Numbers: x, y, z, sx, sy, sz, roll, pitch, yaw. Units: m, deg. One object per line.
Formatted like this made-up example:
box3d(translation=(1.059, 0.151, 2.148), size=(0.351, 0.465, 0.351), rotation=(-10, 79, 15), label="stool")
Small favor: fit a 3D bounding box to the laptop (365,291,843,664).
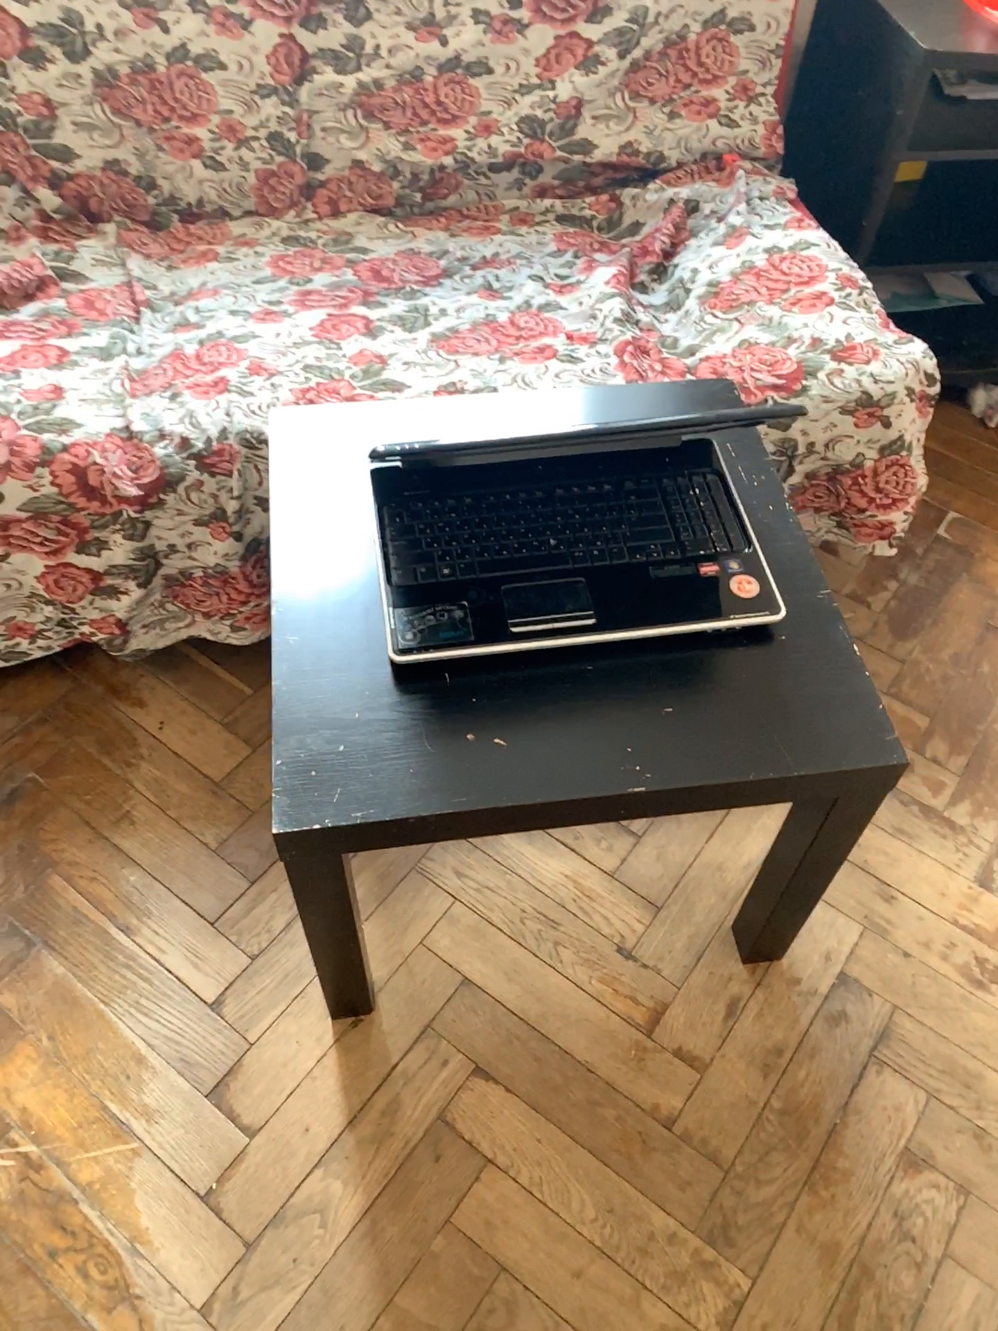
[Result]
box3d(translation=(0.074, -0.179, 0.936), size=(0.365, 0.177, 0.253), rotation=(-7, 53, -7), label="laptop")
